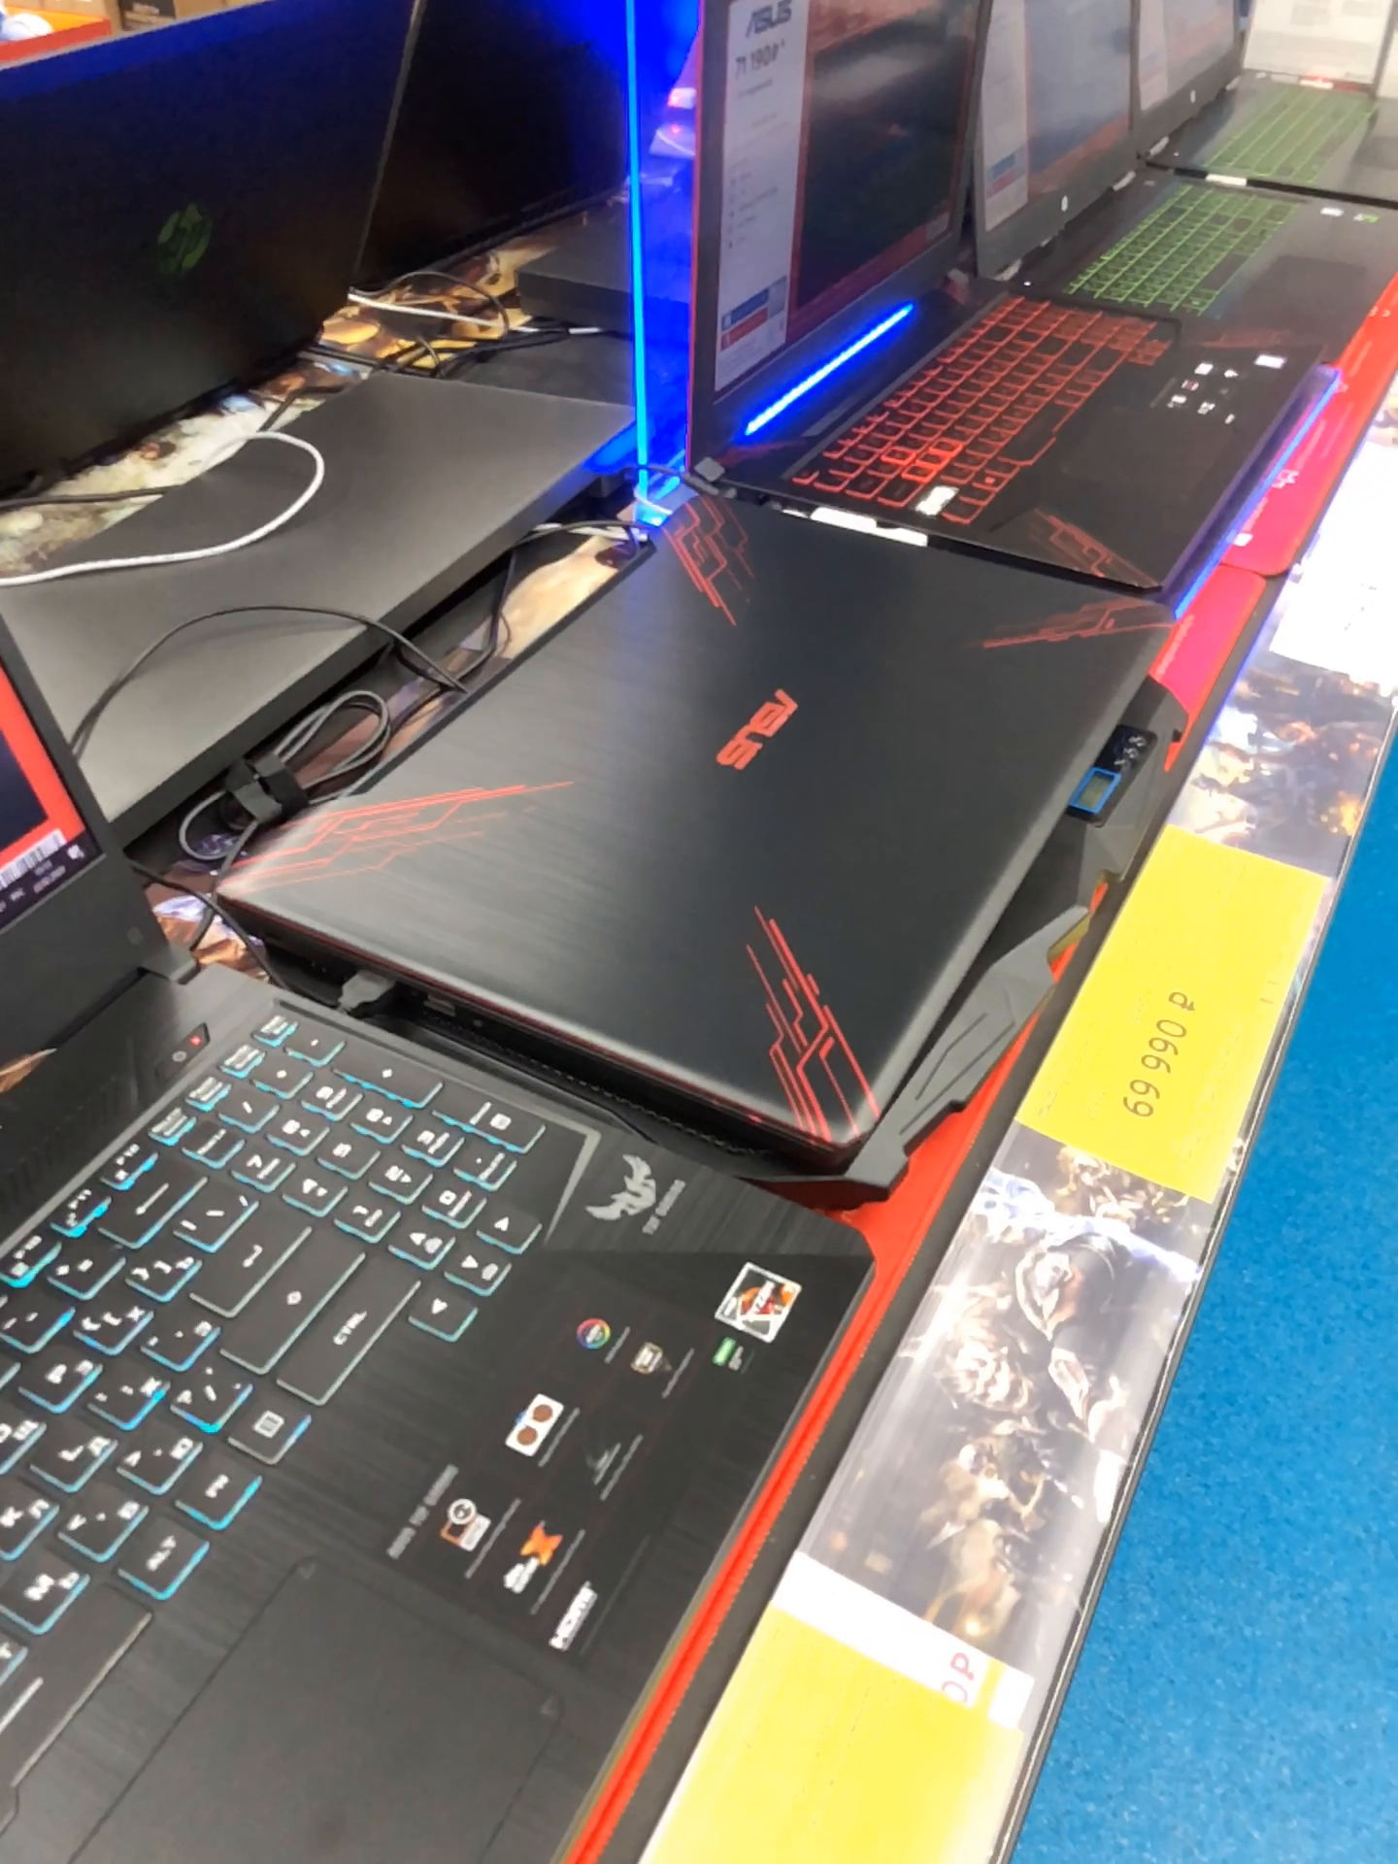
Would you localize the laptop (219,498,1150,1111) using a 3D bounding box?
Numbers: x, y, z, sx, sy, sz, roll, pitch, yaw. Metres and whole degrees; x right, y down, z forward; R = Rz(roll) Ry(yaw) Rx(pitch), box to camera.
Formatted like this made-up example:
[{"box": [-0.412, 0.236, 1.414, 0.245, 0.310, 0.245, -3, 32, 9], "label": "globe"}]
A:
[{"box": [0.015, -0.086, 0.641, 0.239, 0.003, 0.359, 20, 45, 23], "label": "laptop"}]
